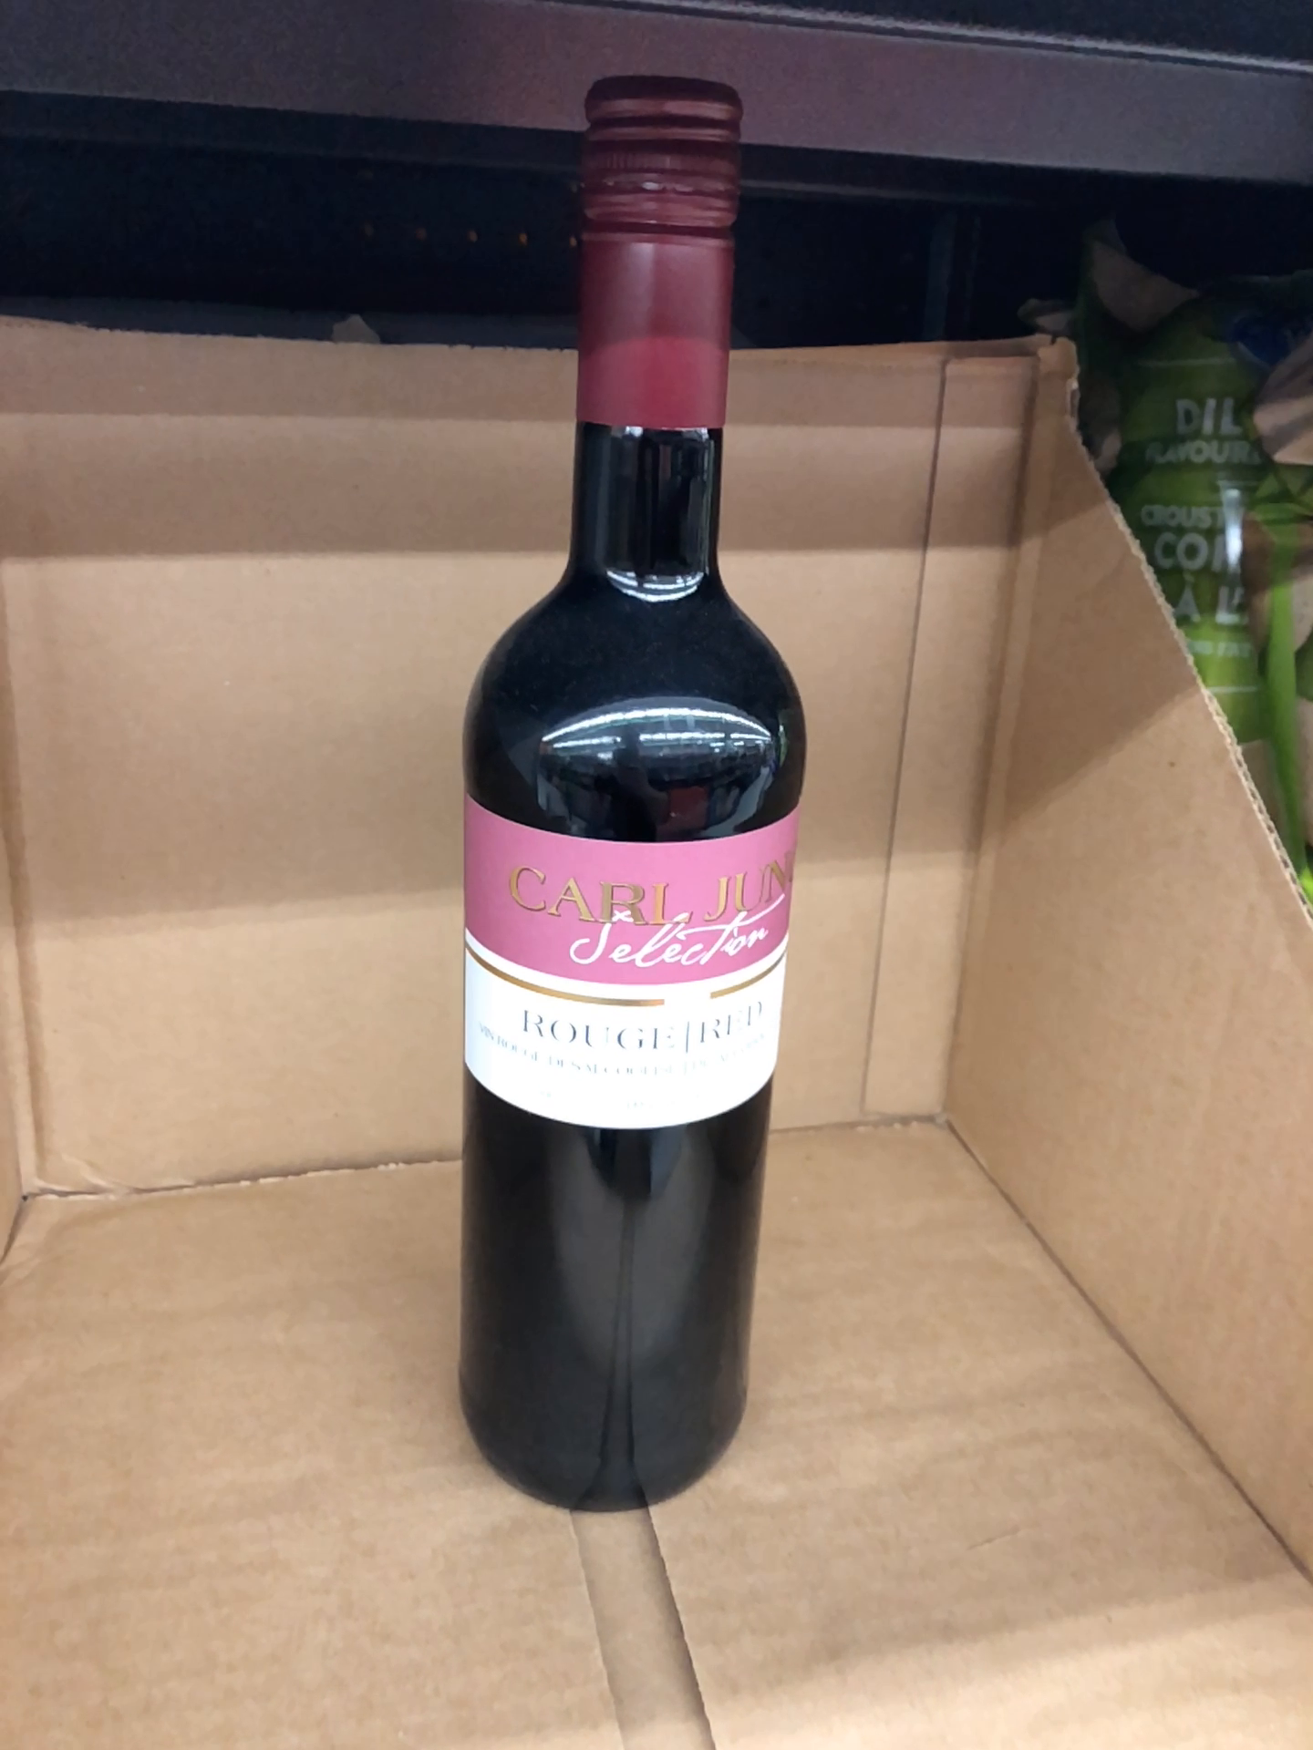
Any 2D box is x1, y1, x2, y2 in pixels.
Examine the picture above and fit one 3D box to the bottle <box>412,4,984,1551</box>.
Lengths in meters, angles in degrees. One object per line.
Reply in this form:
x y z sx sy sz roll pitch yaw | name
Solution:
-0.006 -0.004 0.319 0.090 0.308 0.081 -1 22 -9 | bottle
